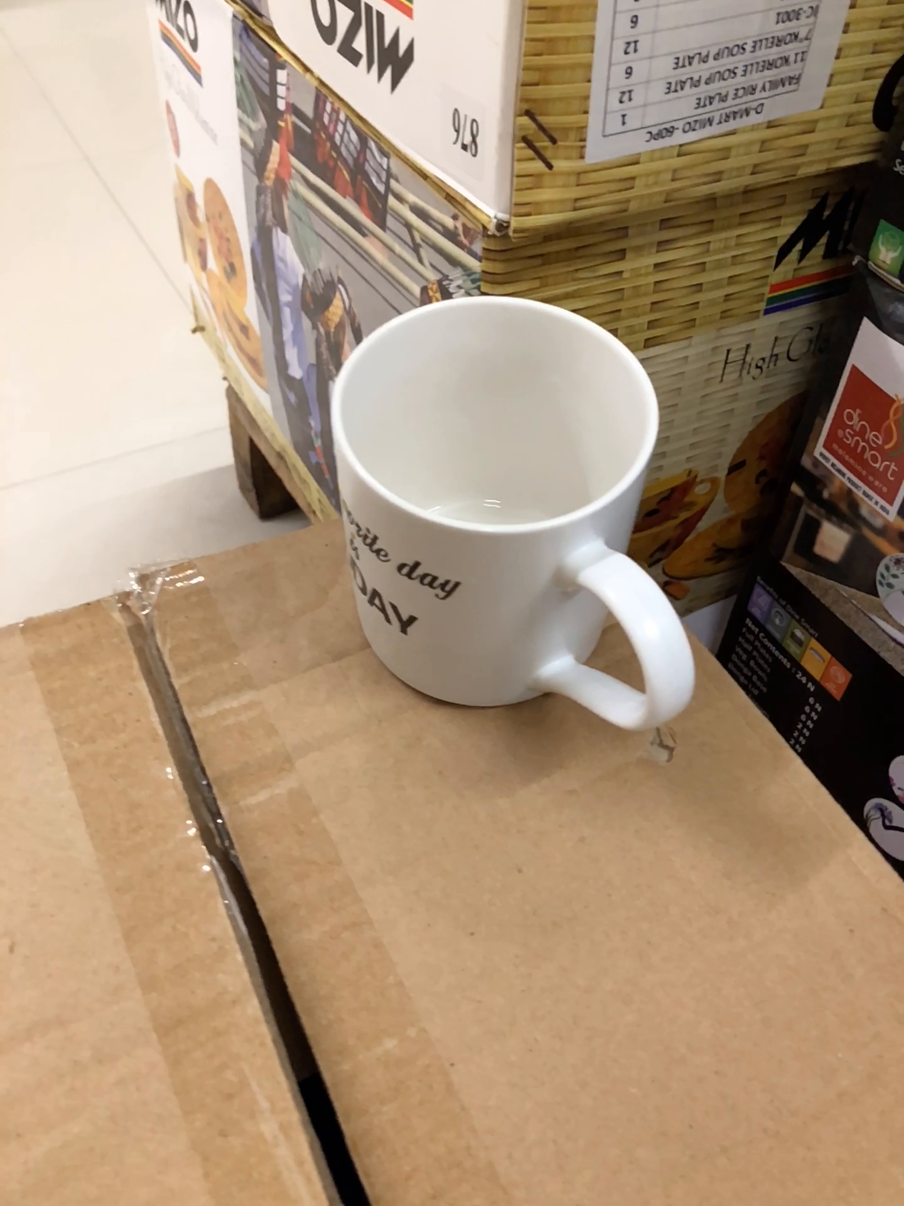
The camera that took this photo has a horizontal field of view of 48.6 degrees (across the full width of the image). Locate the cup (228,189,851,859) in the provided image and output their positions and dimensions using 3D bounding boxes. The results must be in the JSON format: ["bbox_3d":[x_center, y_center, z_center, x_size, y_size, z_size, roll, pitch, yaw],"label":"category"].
[{"bbox_3d":[0.015,-0.022,0.272,0.080,0.099,0.130,-31,62,-19],"label":"cup"}]
